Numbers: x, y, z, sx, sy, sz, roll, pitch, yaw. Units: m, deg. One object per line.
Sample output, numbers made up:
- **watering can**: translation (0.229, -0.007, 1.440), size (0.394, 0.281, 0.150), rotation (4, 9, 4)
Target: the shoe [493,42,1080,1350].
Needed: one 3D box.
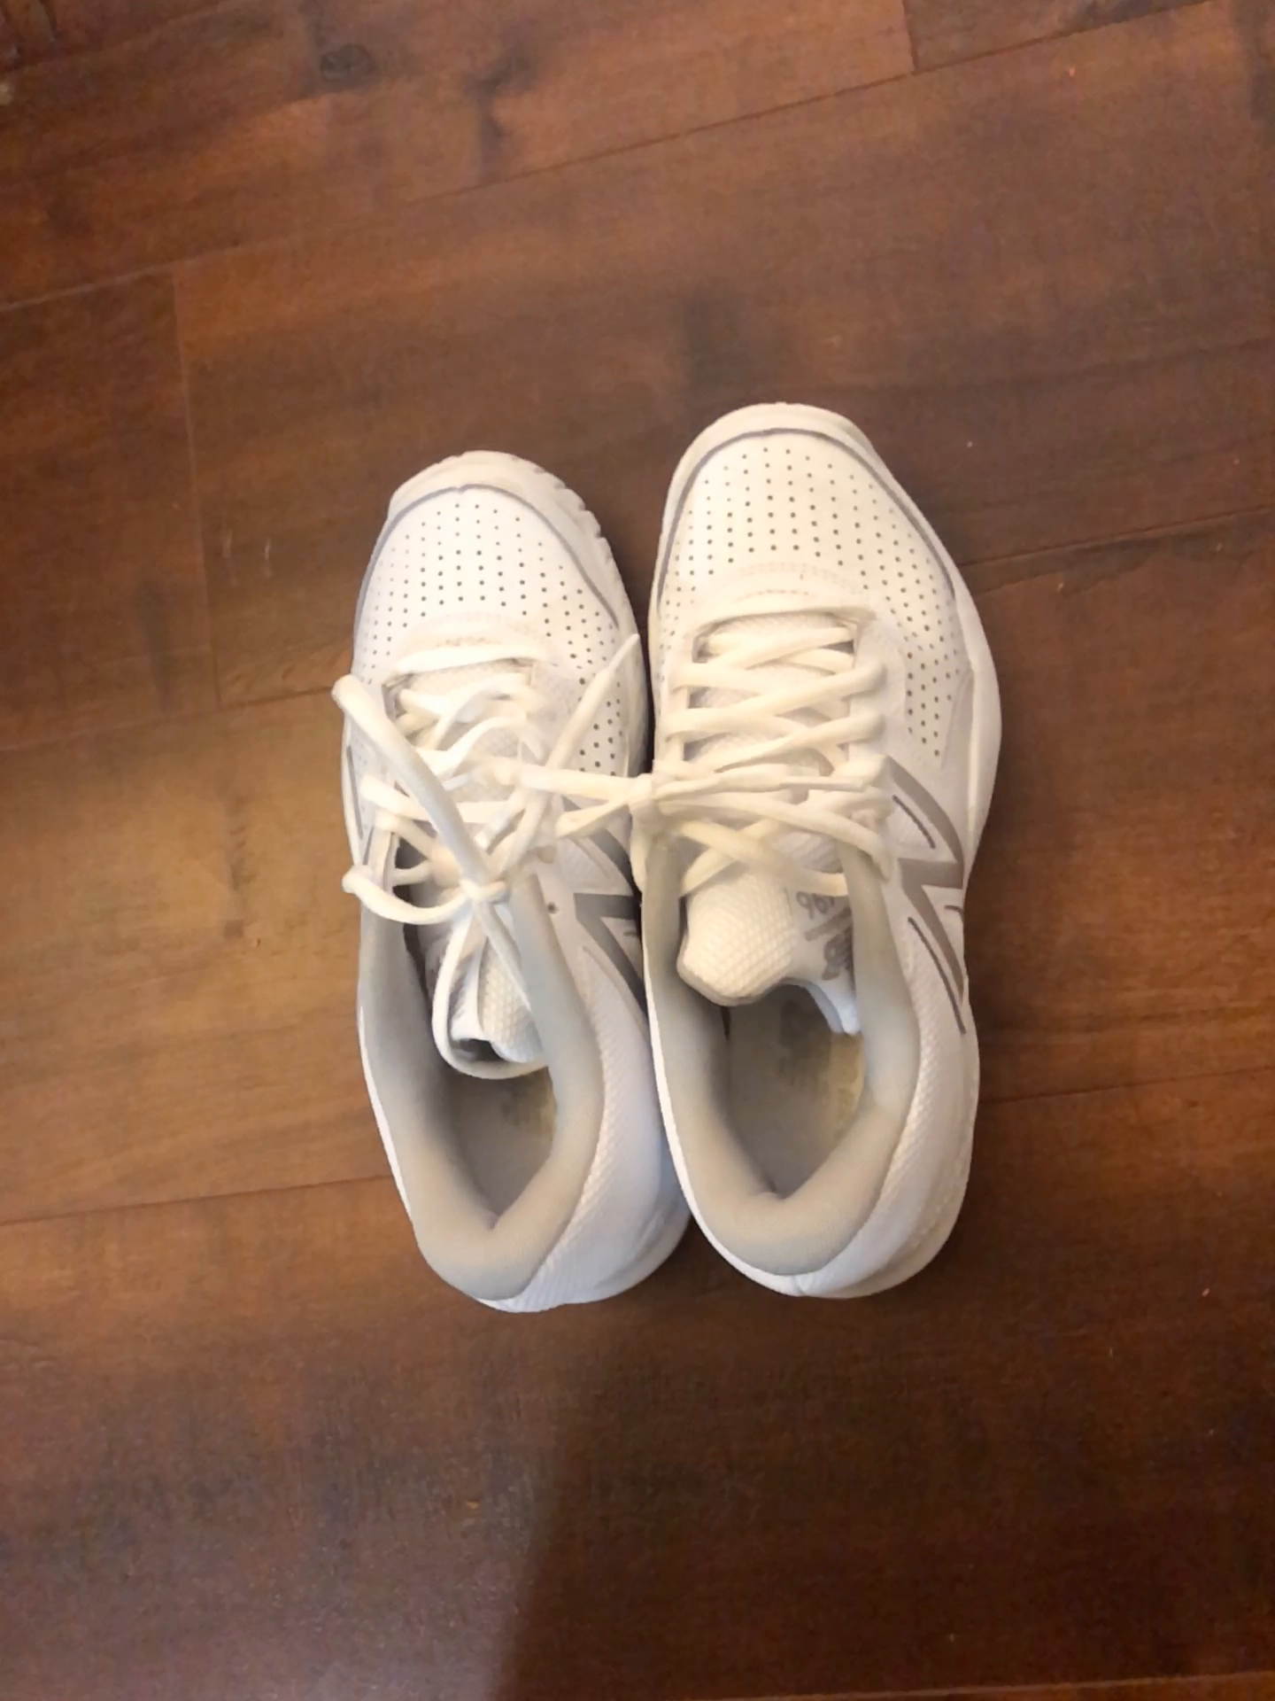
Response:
- **shoe**: translation (0.051, -0.031, 0.424), size (0.120, 0.170, 0.310), rotation (-5, 84, 14)

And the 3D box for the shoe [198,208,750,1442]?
- **shoe**: translation (-0.043, -0.004, 0.427), size (0.100, 0.130, 0.310), rotation (-8, 83, 11)
